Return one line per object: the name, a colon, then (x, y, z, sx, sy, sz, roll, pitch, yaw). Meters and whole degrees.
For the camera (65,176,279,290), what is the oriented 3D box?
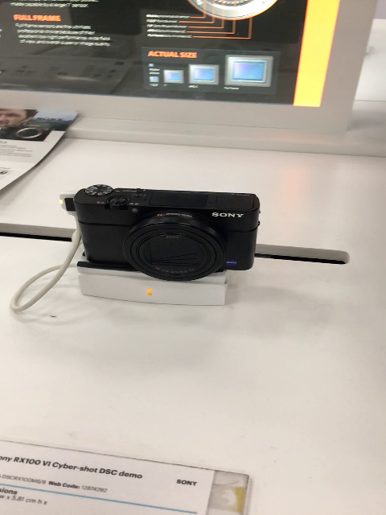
camera: (-0.011, -0.017, 0.340, 0.126, 0.059, 0.042, 5, 43, 6)
